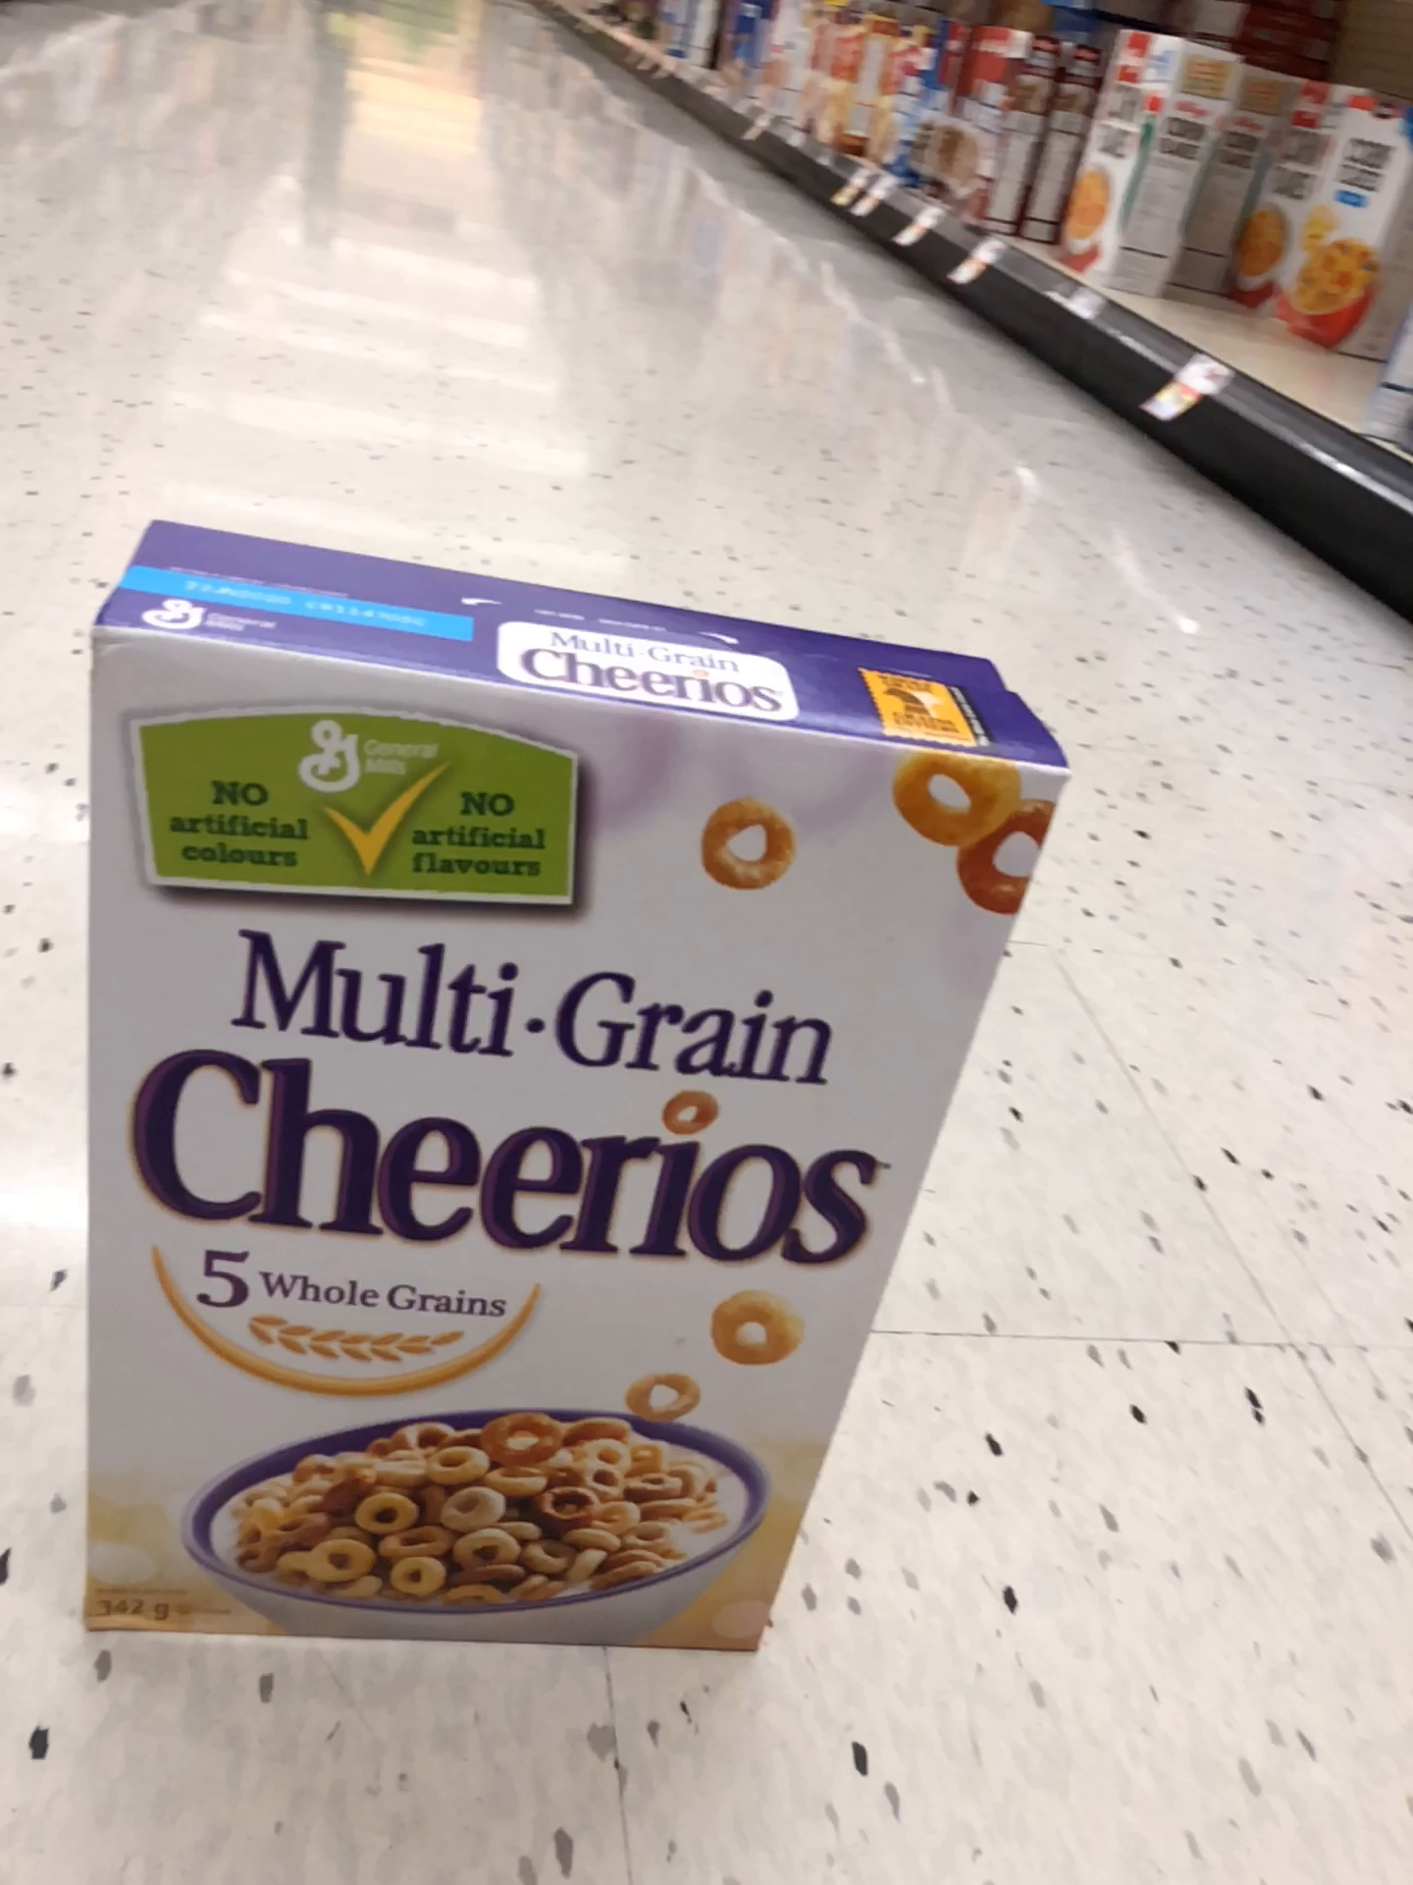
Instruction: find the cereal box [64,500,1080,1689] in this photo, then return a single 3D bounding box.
[{"bbox_3d":[-0.054,0.066,0.391,0.190,0.308,0.060,7,31,-12],"label":"cereal box"}]
